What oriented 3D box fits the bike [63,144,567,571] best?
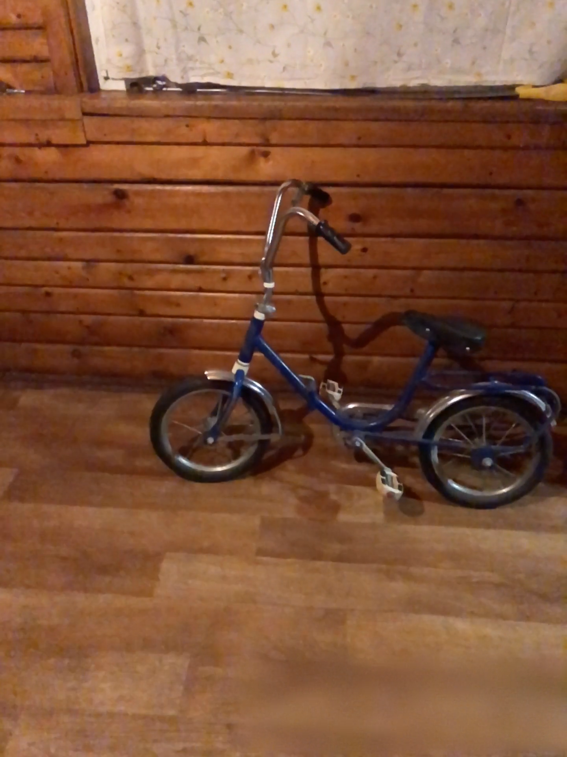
[{"bbox_3d":[0.161,-0.072,1.448,0.956,0.697,0.597,5,35,4],"label":"bike"}]
